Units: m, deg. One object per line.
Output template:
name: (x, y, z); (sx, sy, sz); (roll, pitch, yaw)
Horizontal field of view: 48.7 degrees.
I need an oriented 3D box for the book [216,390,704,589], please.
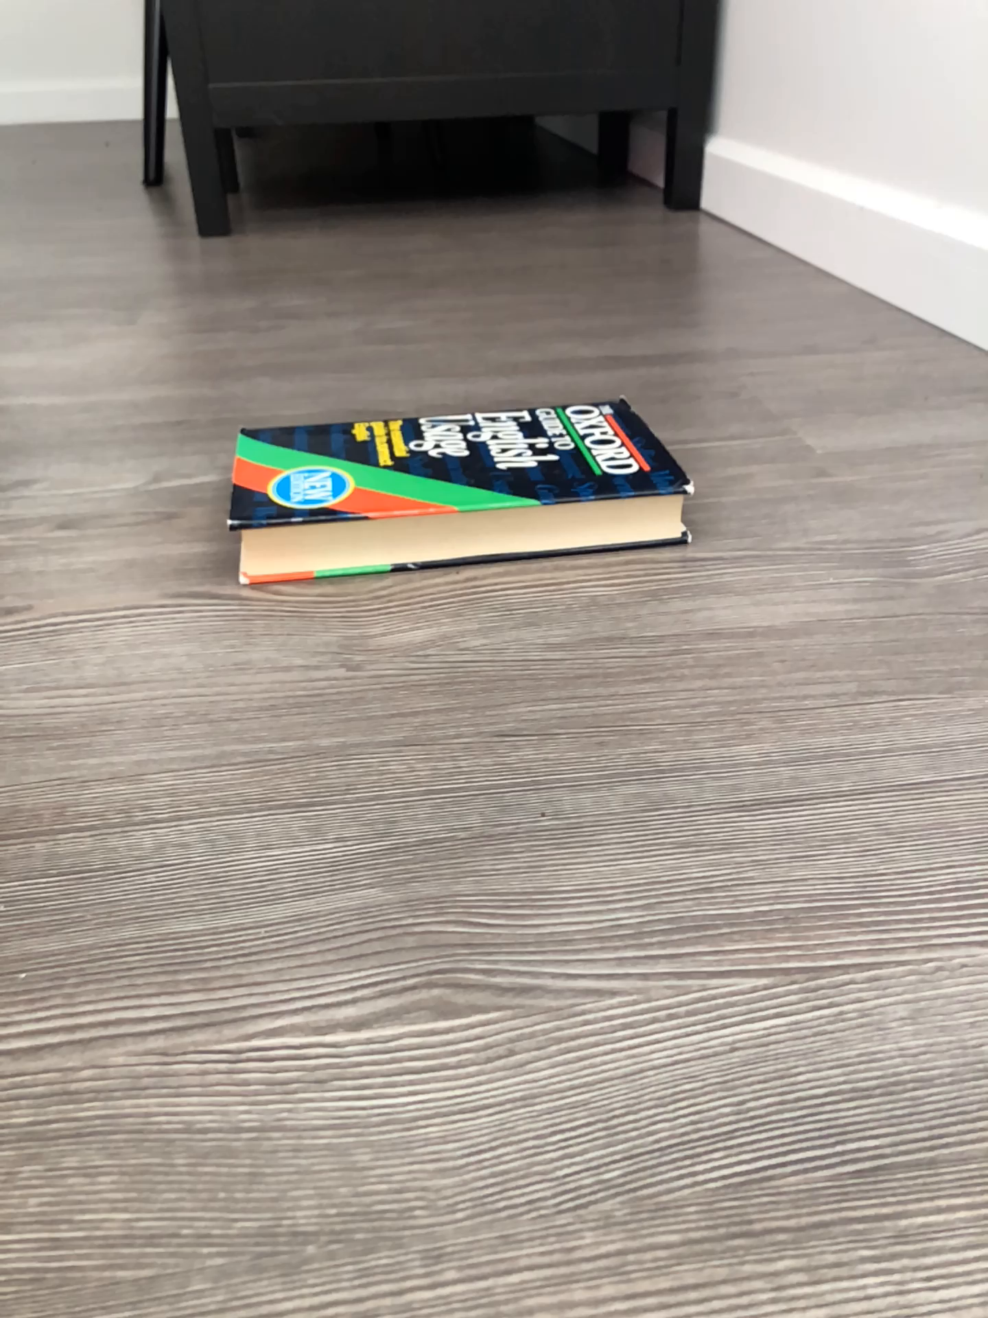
book: (-0.023, -0.097, 0.583); (0.230, 0.035, 0.151); (-5, 31, -7)
